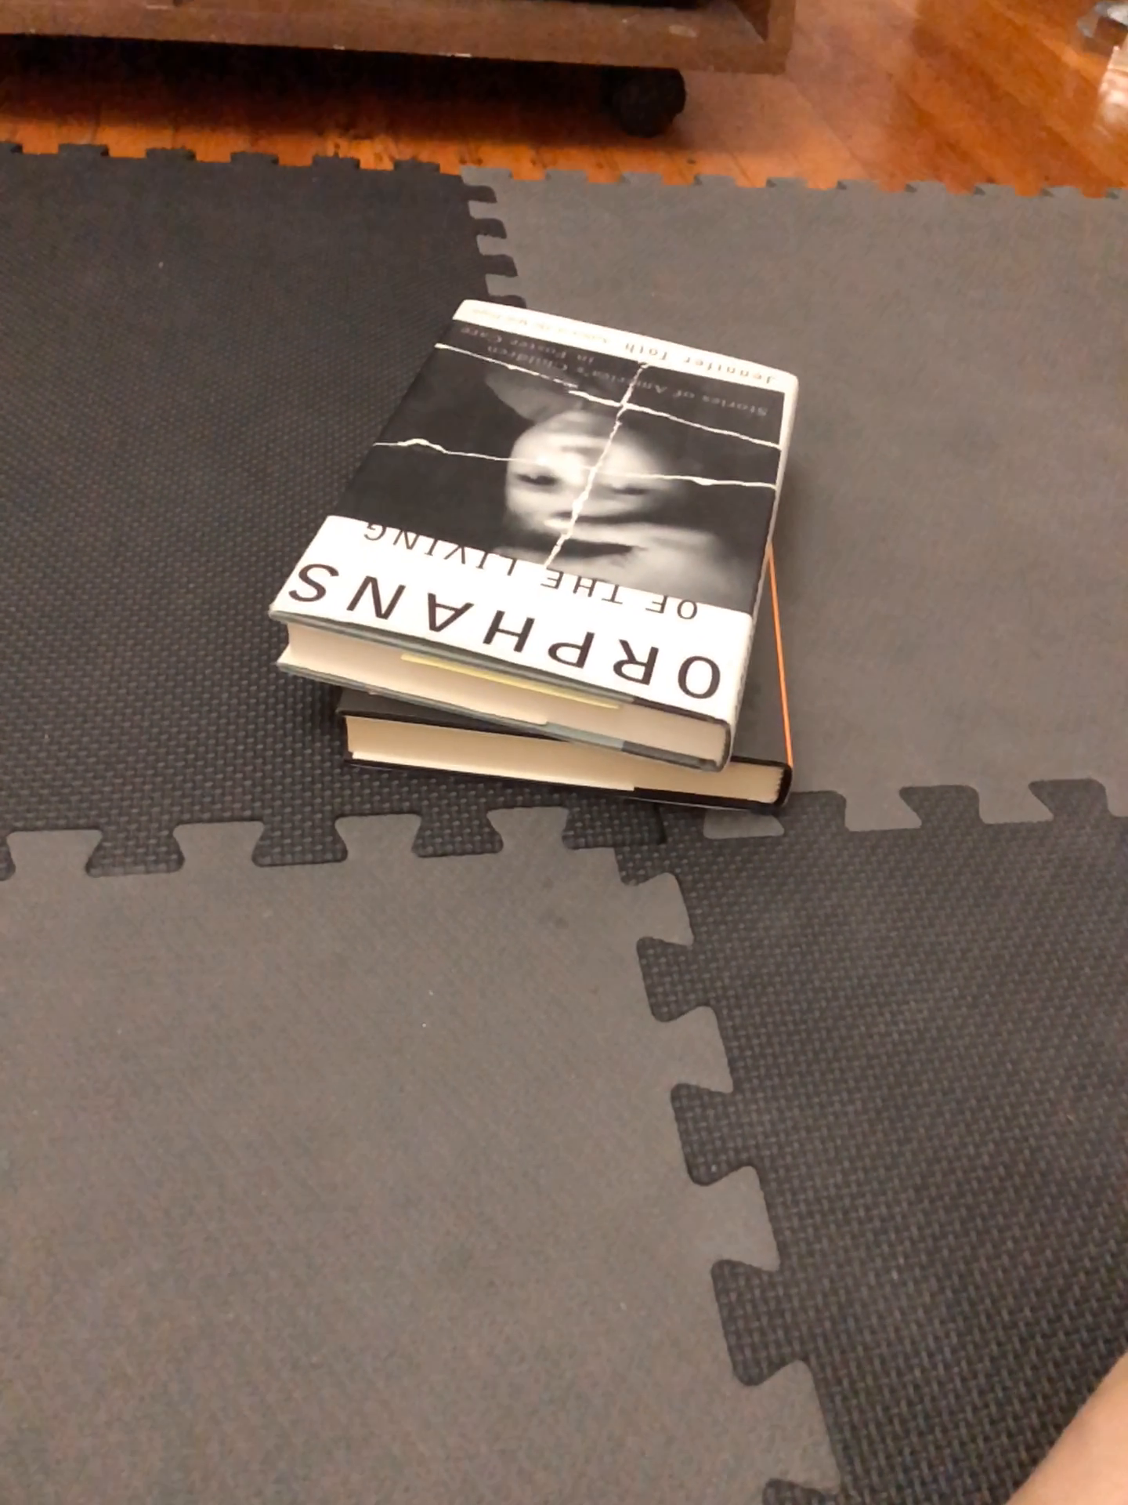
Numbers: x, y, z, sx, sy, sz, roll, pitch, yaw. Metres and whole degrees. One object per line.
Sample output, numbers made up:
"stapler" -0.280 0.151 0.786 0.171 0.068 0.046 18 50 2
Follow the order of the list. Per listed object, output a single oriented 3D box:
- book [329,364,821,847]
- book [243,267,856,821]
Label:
"book" 0.007 -0.074 0.501 0.160 0.030 0.251 5 45 -2
"book" 0.015 -0.104 0.490 0.180 0.030 0.282 12 45 5
